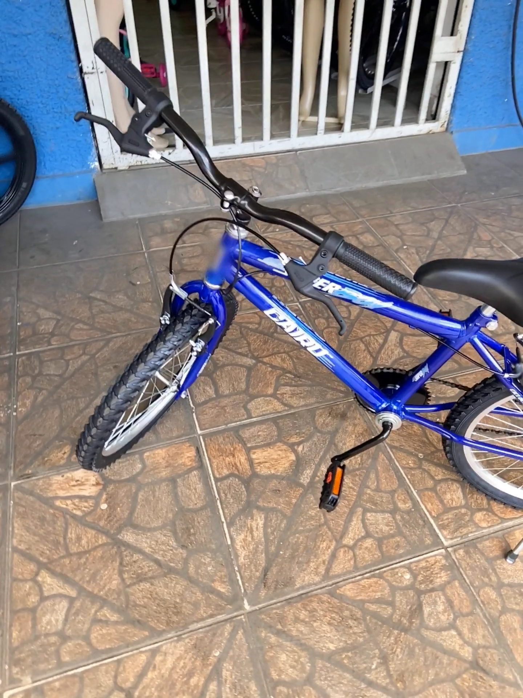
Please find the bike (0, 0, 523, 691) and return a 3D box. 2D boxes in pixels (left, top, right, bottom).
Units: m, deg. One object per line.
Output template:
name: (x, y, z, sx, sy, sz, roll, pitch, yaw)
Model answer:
bike: (0.250, 0.023, 0.874, 1.181, 0.949, 0.547, 4, 40, 3)
